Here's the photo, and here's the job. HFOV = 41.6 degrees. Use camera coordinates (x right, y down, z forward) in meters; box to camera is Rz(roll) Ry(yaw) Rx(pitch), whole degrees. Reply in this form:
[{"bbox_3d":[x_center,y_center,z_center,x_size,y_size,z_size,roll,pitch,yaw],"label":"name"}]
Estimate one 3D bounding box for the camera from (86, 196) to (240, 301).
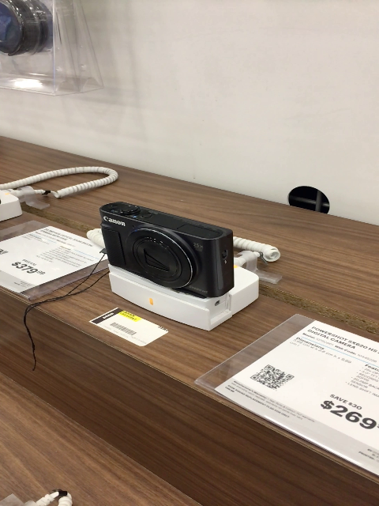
[{"bbox_3d":[-0.020,-0.006,0.353,0.104,0.045,0.031,19,38,32],"label":"camera"}]
